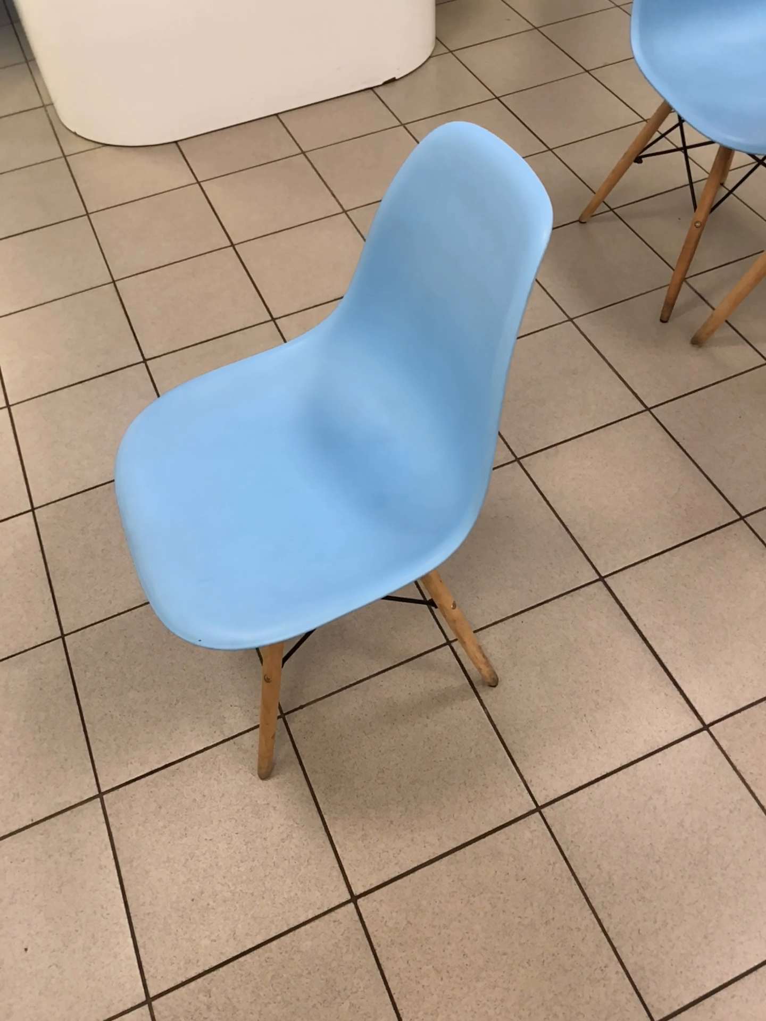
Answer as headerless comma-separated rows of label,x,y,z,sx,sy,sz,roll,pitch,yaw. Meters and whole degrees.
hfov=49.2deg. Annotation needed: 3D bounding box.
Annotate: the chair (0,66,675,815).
chair,-0.077,-0.038,1.137,0.570,0.777,0.472,-21,56,-12
